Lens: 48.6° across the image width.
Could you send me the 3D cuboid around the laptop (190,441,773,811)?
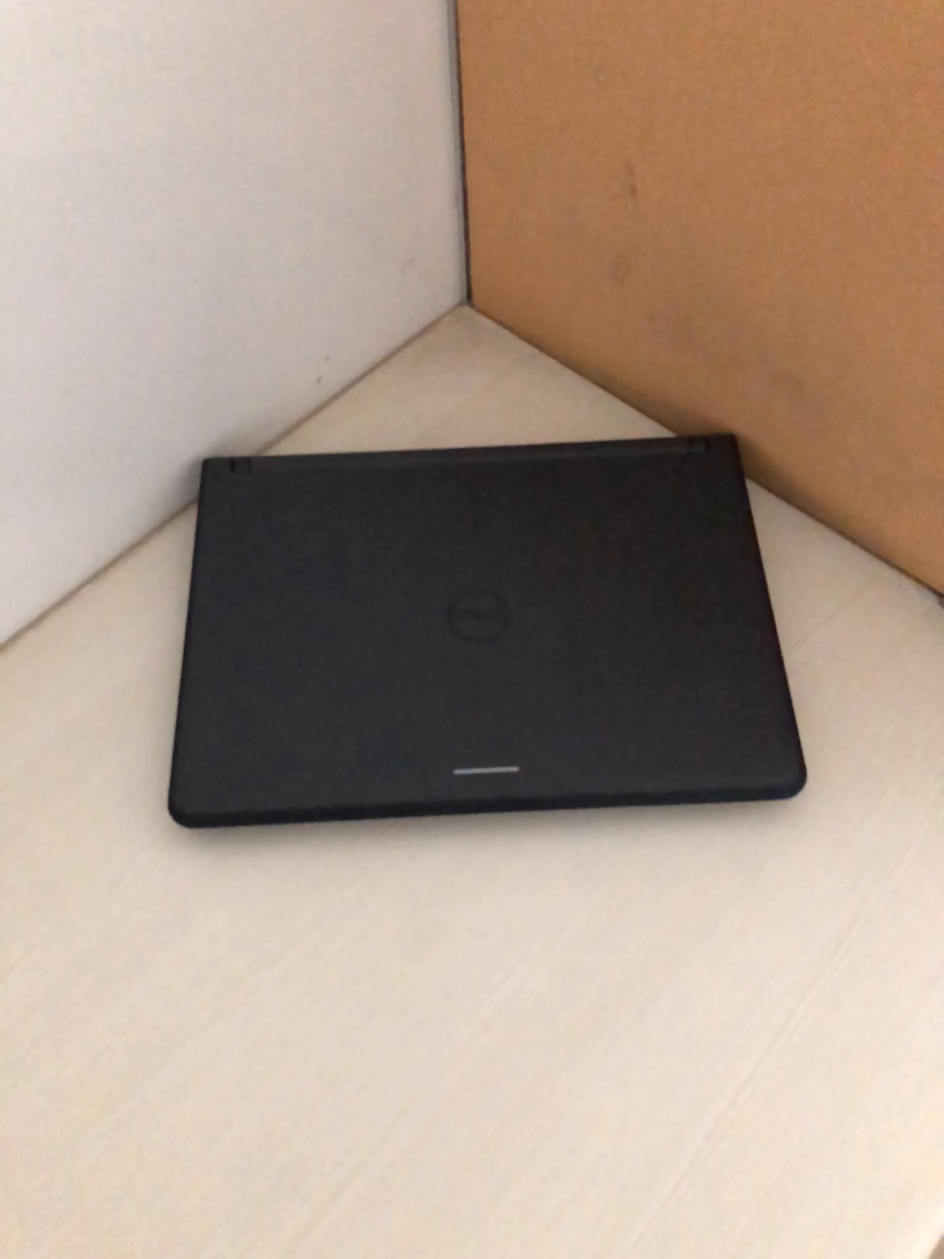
[{"bbox_3d":[-0.003,-0.011,0.583,0.290,0.007,0.228,-3,58,1],"label":"laptop"}]
